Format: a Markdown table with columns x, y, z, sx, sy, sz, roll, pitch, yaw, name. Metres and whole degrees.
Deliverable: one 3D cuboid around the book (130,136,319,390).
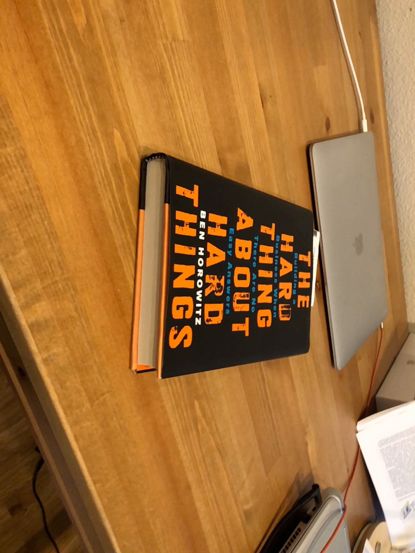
| x | y | z | sx | sy | sz | roll | pitch | yaw | name |
| --- | --- | --- | --- | --- | --- | --- | --- | --- | --- |
| 0.031 | -0.004 | 0.388 | 0.221 | 0.030 | 0.160 | 4 | 87 | -52 | book |
